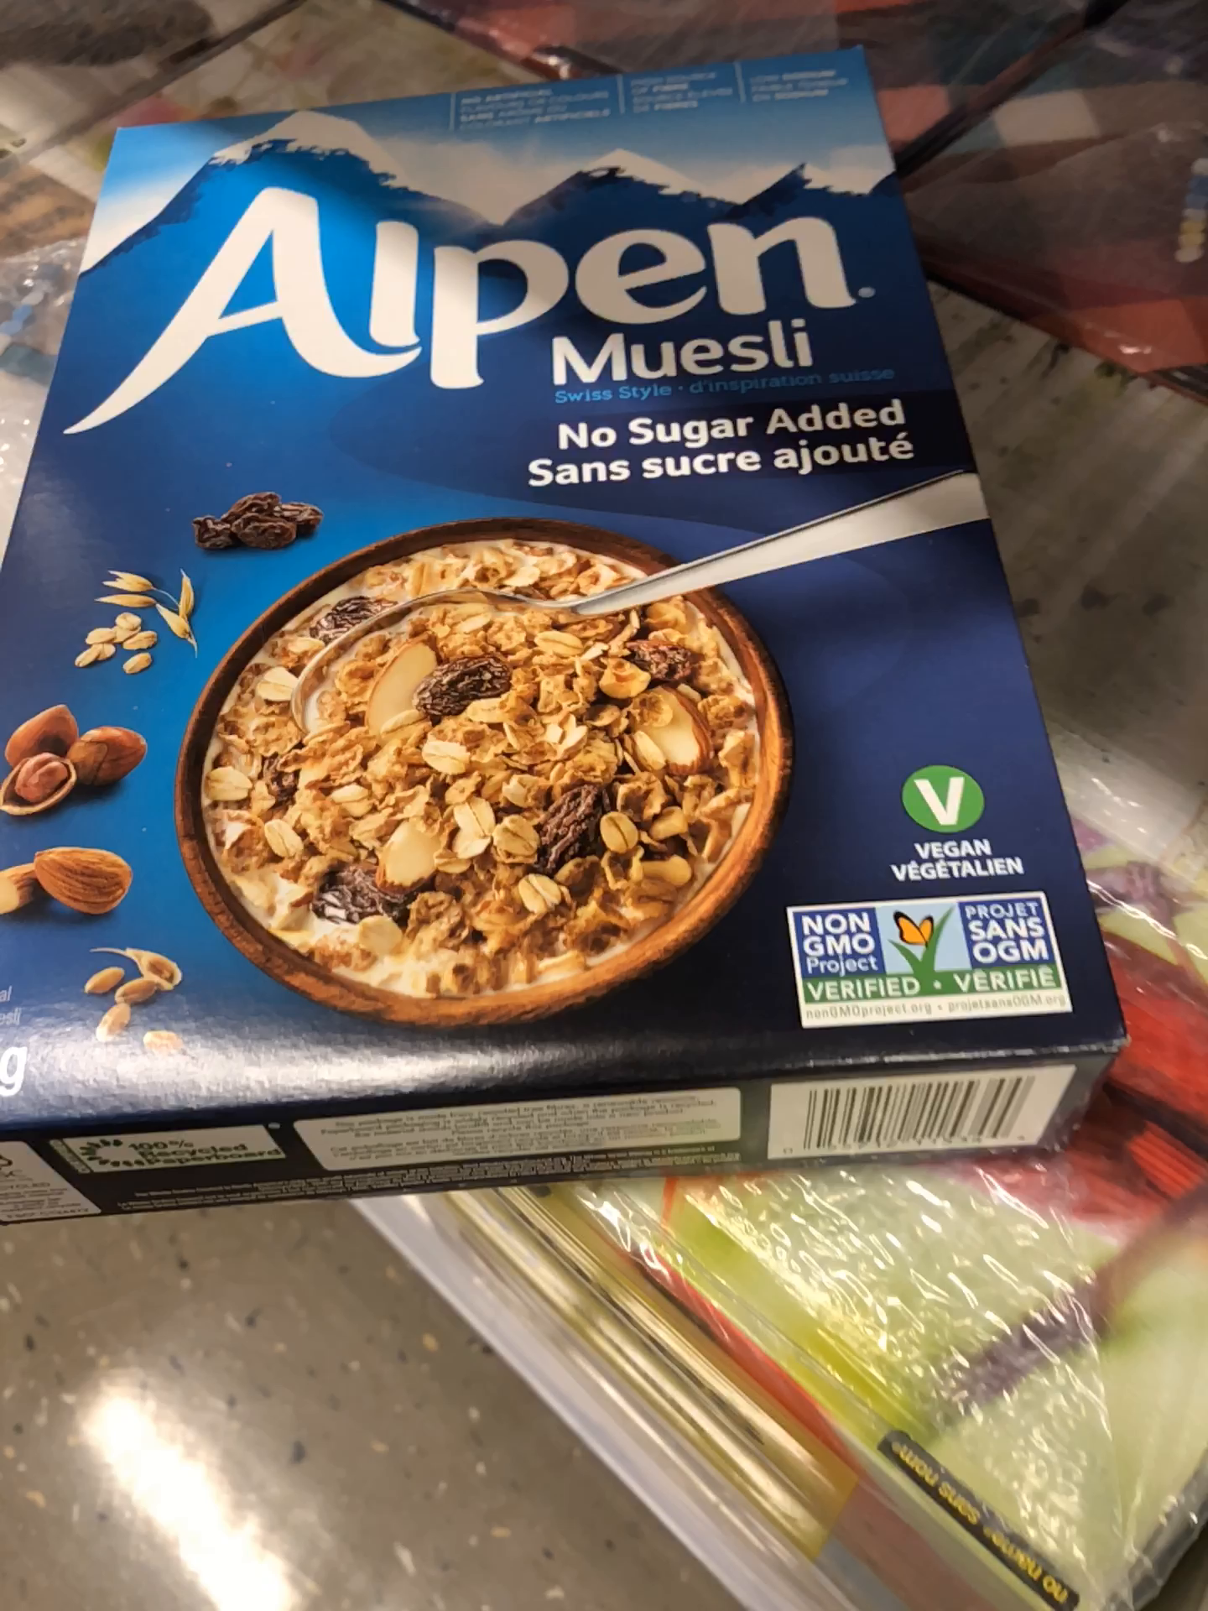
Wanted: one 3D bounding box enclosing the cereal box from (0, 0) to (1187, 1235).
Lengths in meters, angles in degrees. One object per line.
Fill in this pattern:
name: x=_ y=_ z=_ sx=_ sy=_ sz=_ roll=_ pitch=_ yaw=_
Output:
cereal box: x=-0.026 y=-0.065 z=0.269 sx=0.190 sy=0.050 sz=0.270 roll=-5 pitch=58 yaw=2
